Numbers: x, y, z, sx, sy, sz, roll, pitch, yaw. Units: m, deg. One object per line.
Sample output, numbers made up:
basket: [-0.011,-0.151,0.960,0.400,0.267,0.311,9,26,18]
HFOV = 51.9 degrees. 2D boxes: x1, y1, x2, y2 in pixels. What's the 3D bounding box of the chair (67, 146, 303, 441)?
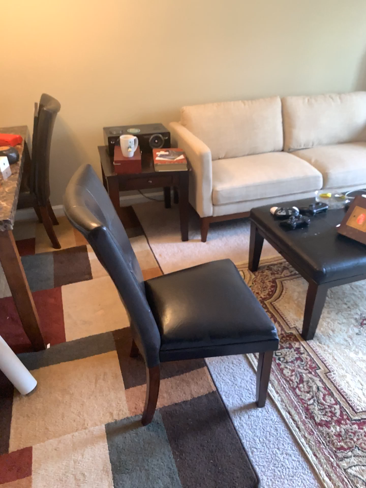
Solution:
chair: [-0.026,0.176,1.451,0.650,0.915,0.493,-9,32,-13]
